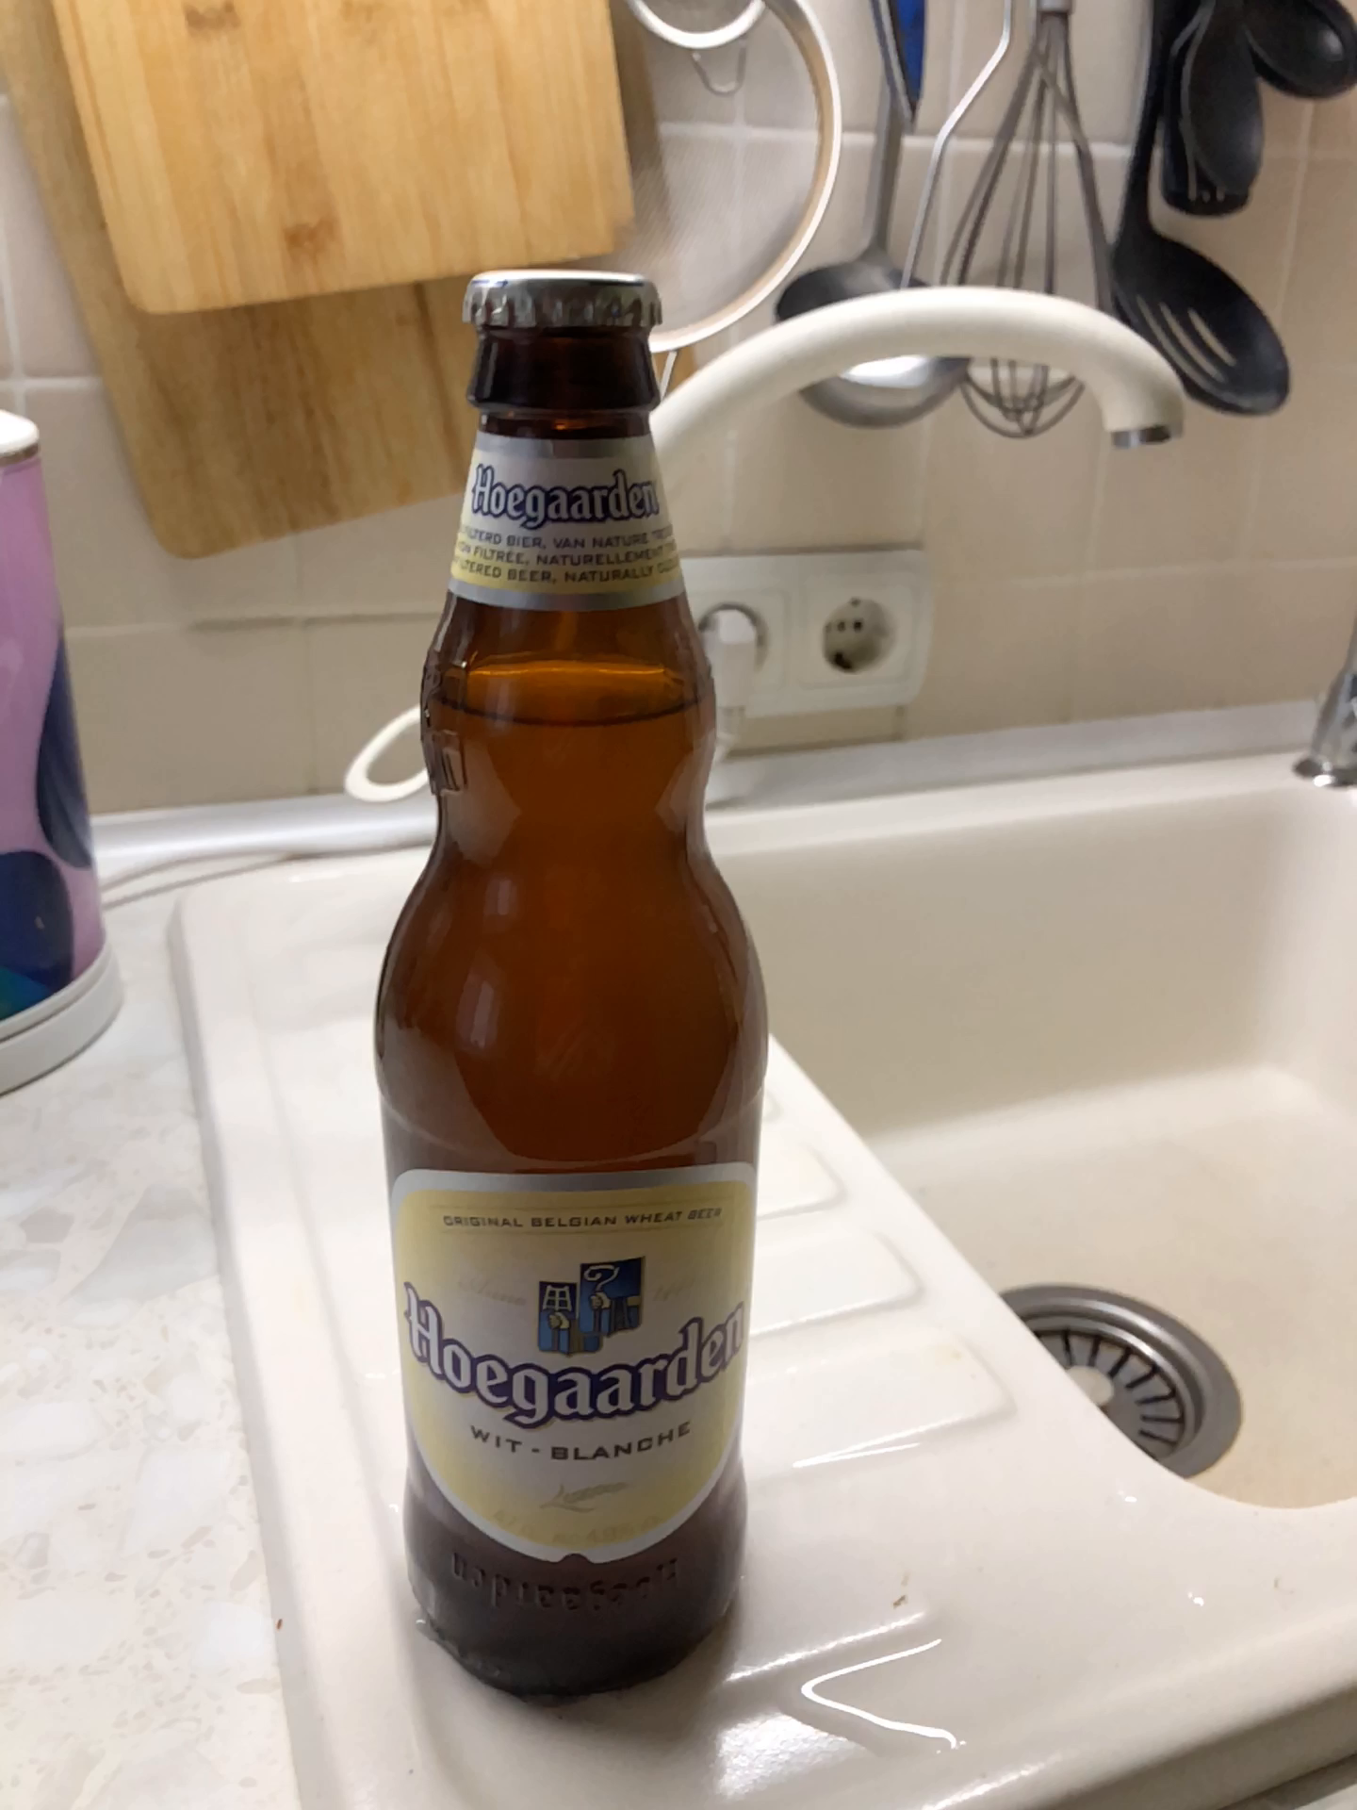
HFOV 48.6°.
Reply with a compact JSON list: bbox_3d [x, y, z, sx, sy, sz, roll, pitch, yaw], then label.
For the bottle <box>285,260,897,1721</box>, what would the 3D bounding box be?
[{"bbox_3d":[-0.014,0.022,0.244,0.070,0.231,0.060,0,23,-3],"label":"bottle"}]
